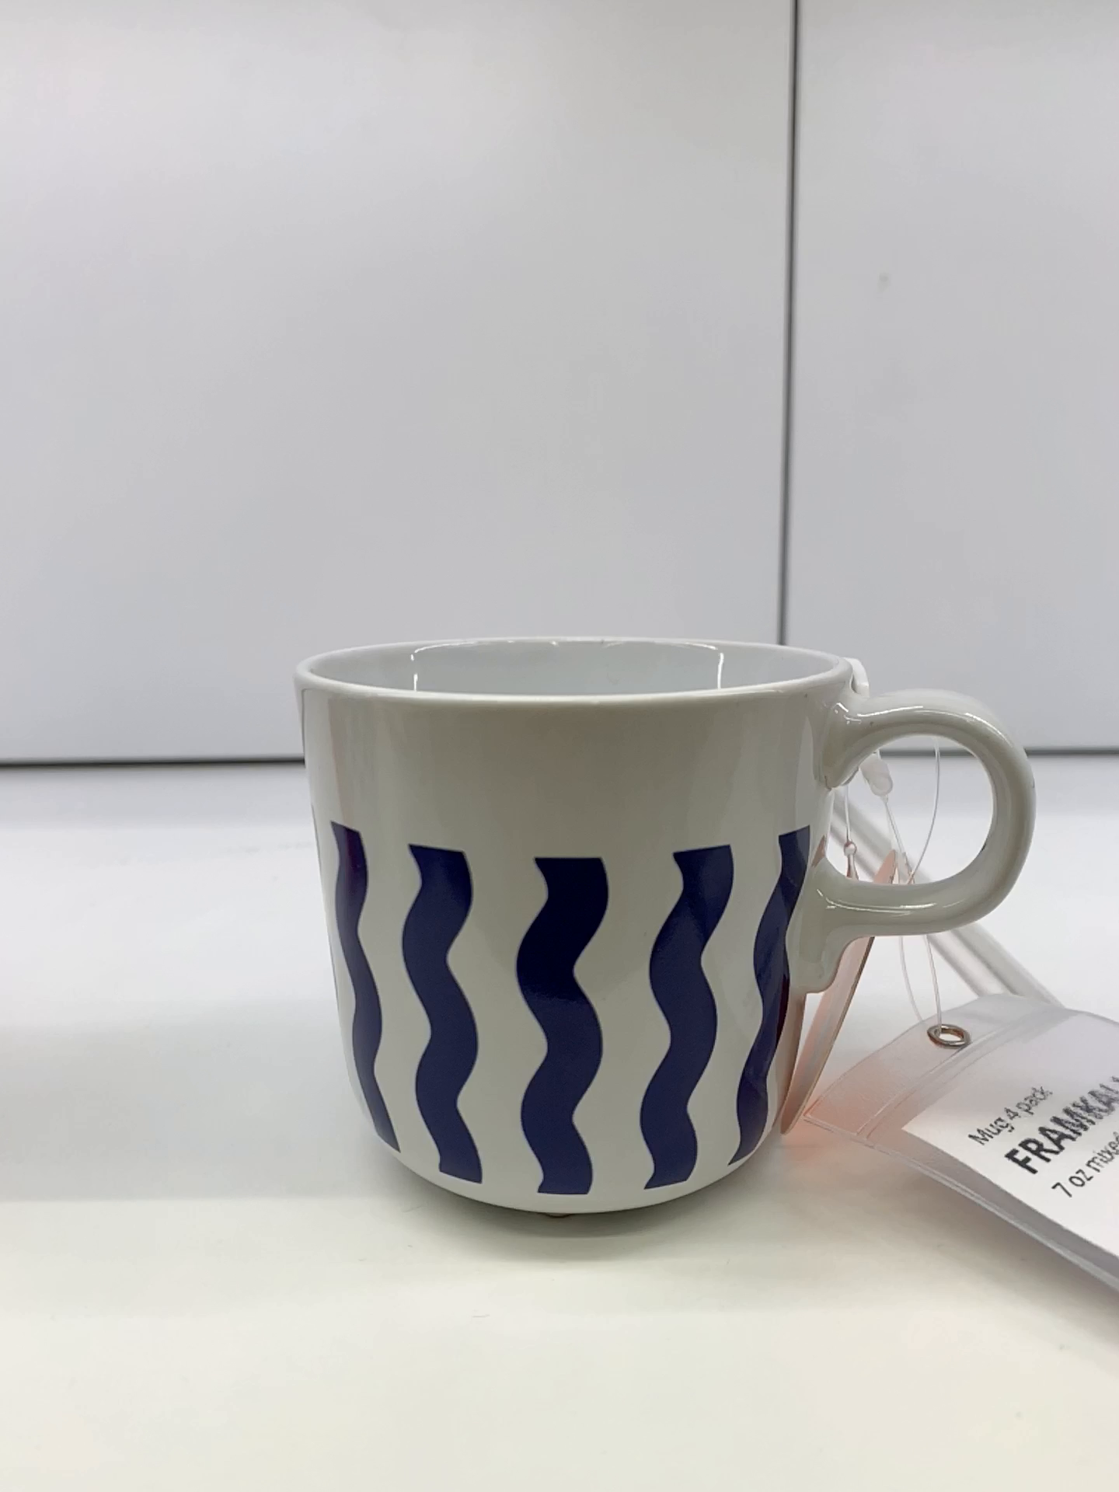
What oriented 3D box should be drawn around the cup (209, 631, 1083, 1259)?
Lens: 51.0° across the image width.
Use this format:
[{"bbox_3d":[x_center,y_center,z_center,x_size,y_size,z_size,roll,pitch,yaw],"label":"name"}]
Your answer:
[{"bbox_3d":[0.010,0.022,0.179,0.101,0.071,0.076,-1,9,0],"label":"cup"}]
